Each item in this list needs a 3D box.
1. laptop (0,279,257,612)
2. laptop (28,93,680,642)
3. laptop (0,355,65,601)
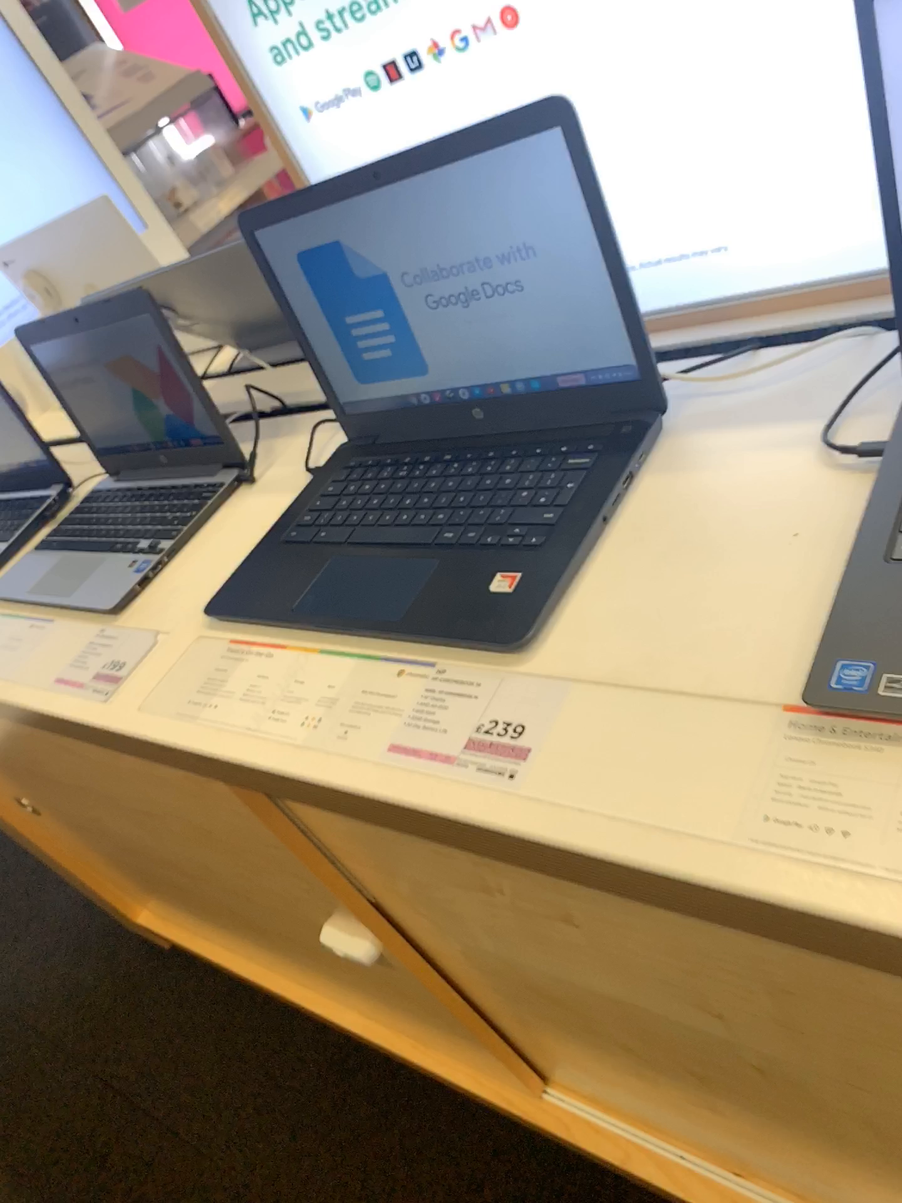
[{"bbox_3d":[-0.401,-0.153,0.945,0.271,0.186,0.242,3,49,40],"label":"laptop"},{"bbox_3d":[-0.067,-0.146,0.662,0.332,0.209,0.245,4,49,43],"label":"laptop"},{"bbox_3d":[-0.687,-0.144,1.169,0.335,0.189,0.191,4,49,43],"label":"laptop"}]
